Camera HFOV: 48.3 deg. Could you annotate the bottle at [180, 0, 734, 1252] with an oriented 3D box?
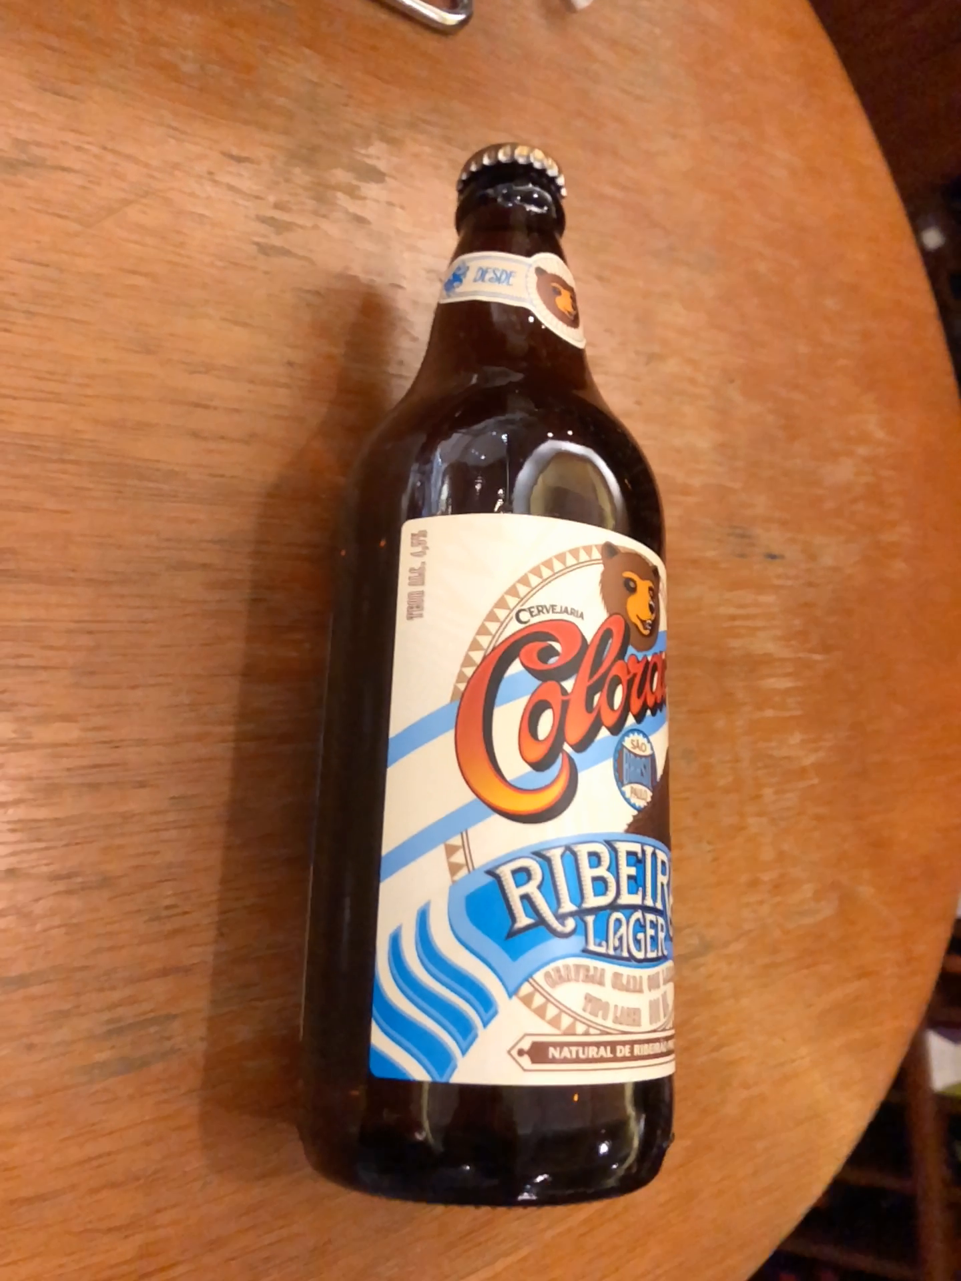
[{"bbox_3d":[0.001,-0.020,0.244,0.090,0.060,0.260,14,70,-36],"label":"bottle"}]
